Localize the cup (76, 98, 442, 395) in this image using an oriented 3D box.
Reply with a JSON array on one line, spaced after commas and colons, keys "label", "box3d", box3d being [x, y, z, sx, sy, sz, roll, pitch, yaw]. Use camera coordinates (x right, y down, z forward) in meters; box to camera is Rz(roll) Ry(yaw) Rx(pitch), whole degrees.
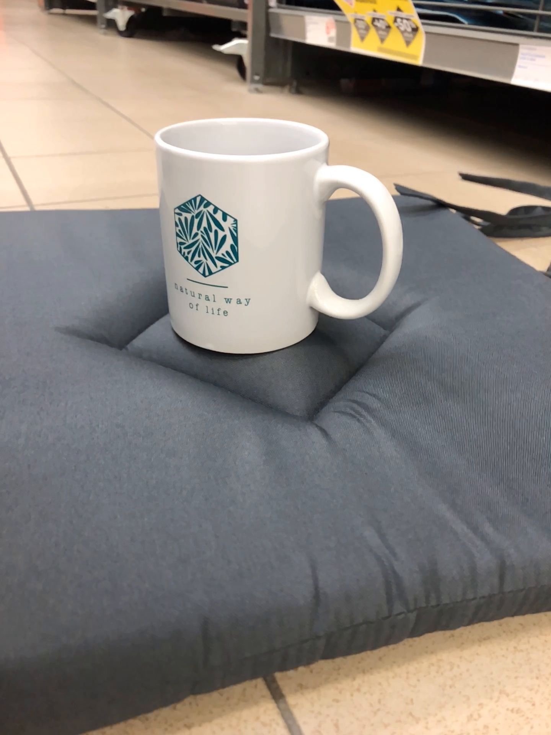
[{"label": "cup", "box3d": [-0.006, -0.065, 0.286, 0.130, 0.089, 0.091, 17, 34, 21]}]
